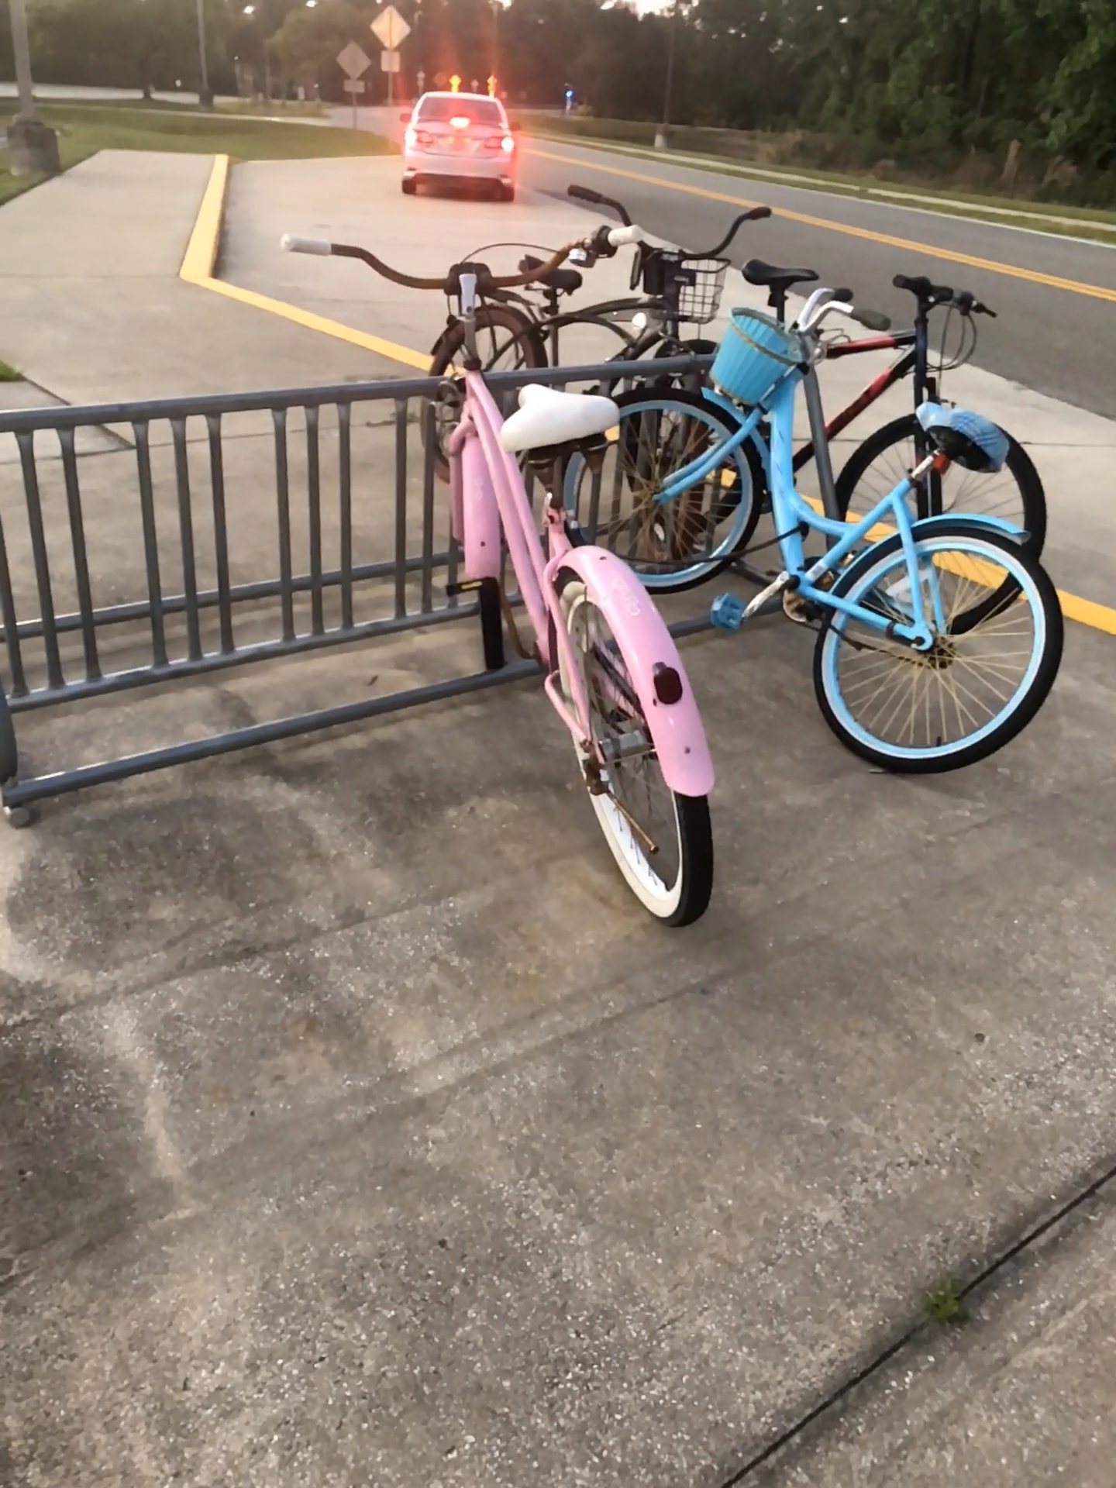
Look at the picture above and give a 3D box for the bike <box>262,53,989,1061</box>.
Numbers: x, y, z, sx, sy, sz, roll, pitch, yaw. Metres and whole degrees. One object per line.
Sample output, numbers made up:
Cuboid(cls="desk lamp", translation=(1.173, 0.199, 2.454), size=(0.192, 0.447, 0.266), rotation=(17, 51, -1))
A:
Cuboid(cls="bike", translation=(-0.066, -0.544, 2.393), size=(0.838, 1.116, 1.662), rotation=(-4, 34, -16))
